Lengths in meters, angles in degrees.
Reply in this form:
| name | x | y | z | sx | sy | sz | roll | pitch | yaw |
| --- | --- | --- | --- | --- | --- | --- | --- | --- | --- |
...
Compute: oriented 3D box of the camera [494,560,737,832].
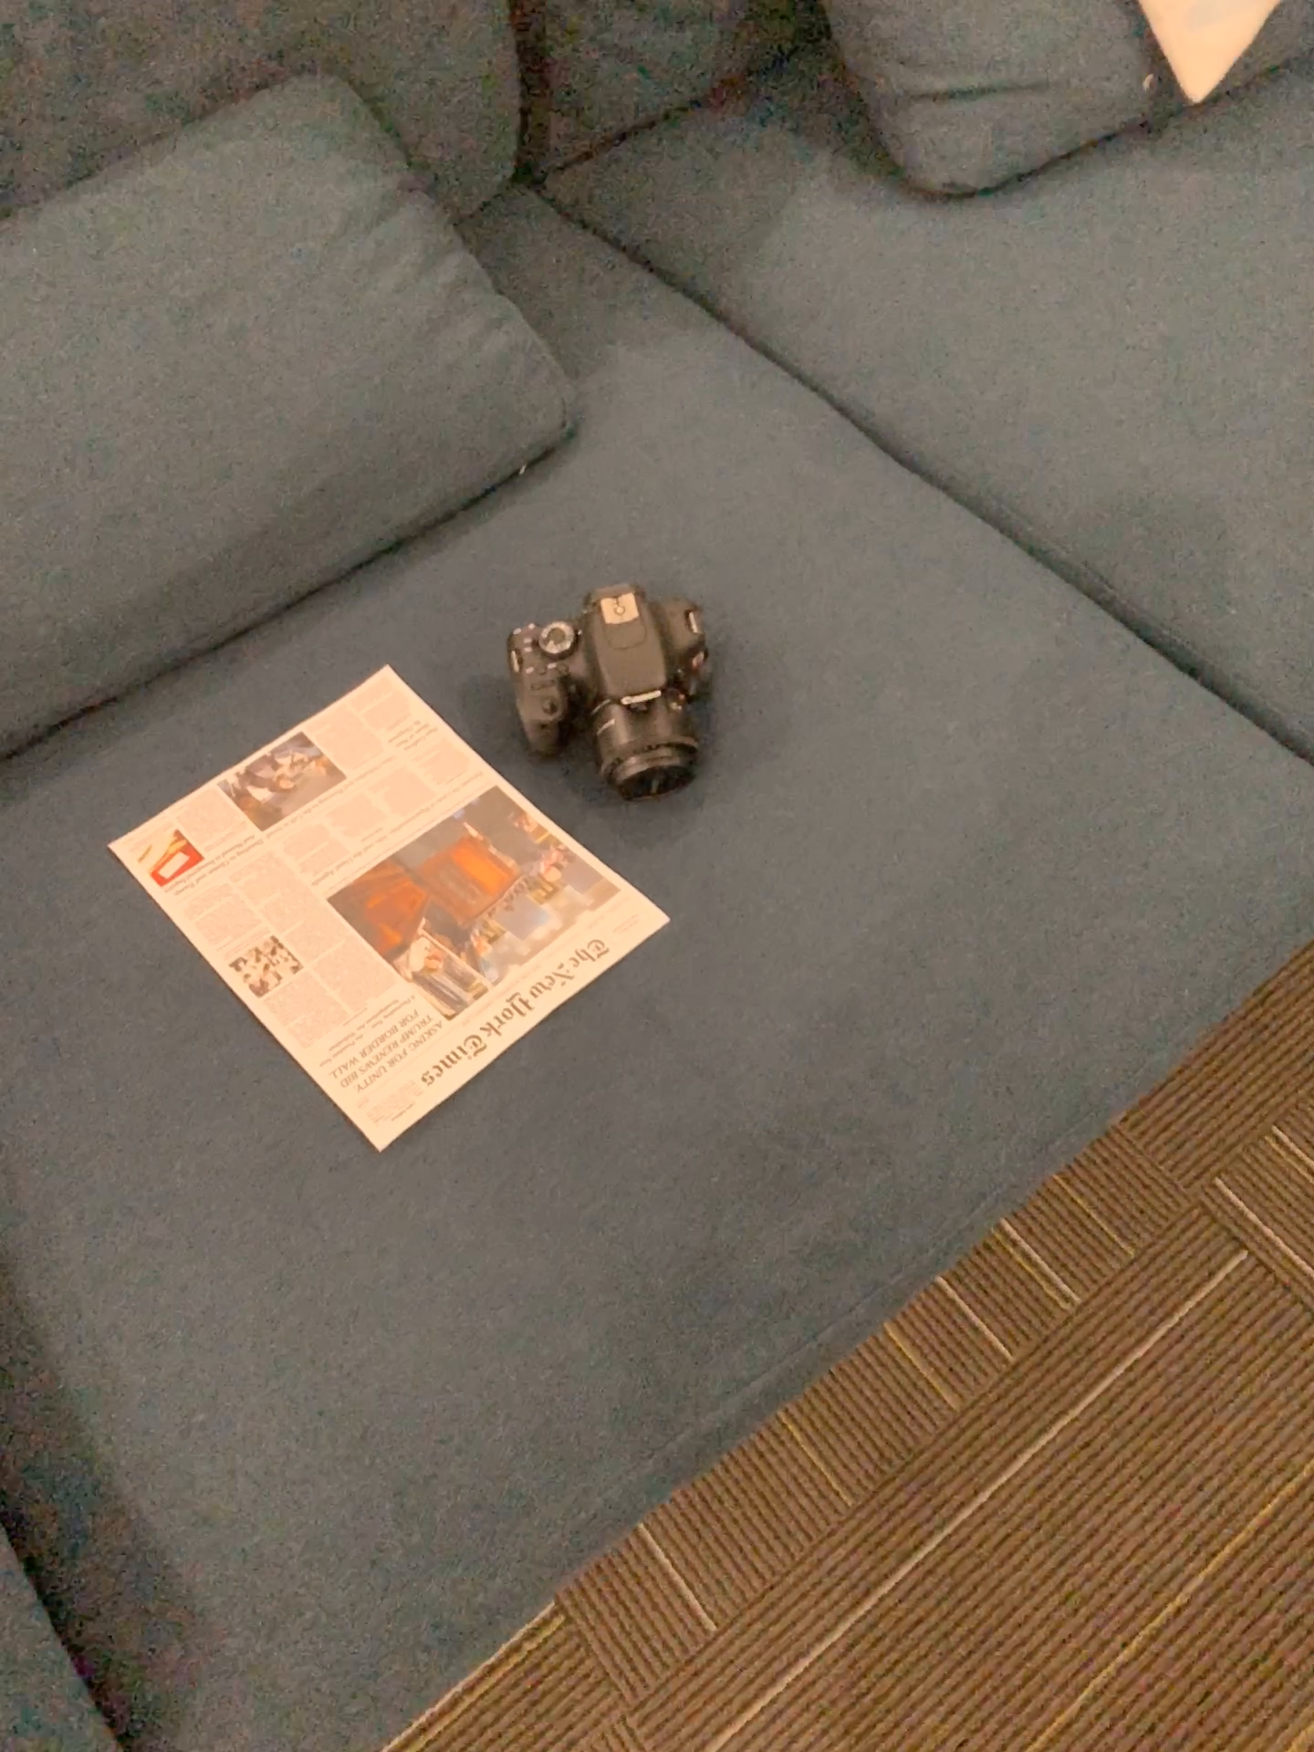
| name | x | y | z | sx | sy | sz | roll | pitch | yaw |
| --- | --- | --- | --- | --- | --- | --- | --- | --- | --- |
| camera | -0.026 | -0.117 | 0.876 | 0.127 | 0.090 | 0.122 | -13 | 59 | -3 |
